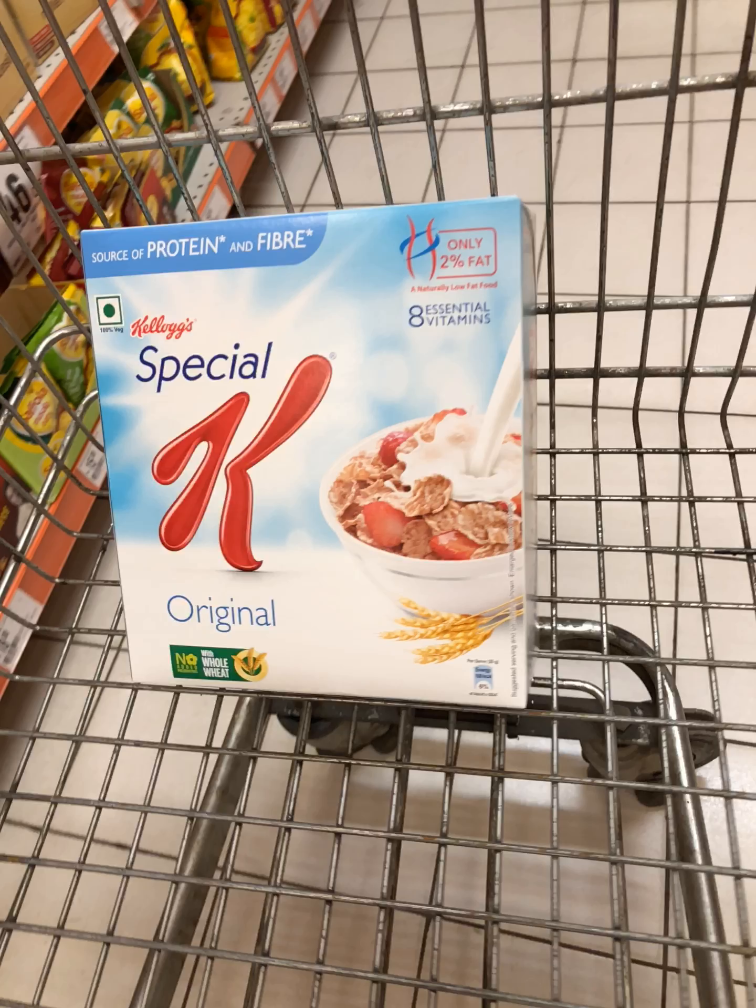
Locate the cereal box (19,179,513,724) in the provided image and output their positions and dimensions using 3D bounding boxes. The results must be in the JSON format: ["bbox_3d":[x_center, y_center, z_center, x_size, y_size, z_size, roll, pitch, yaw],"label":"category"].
[{"bbox_3d":[-0.039,-0.021,0.372,0.190,0.210,0.070,0,13,13],"label":"cereal box"}]
